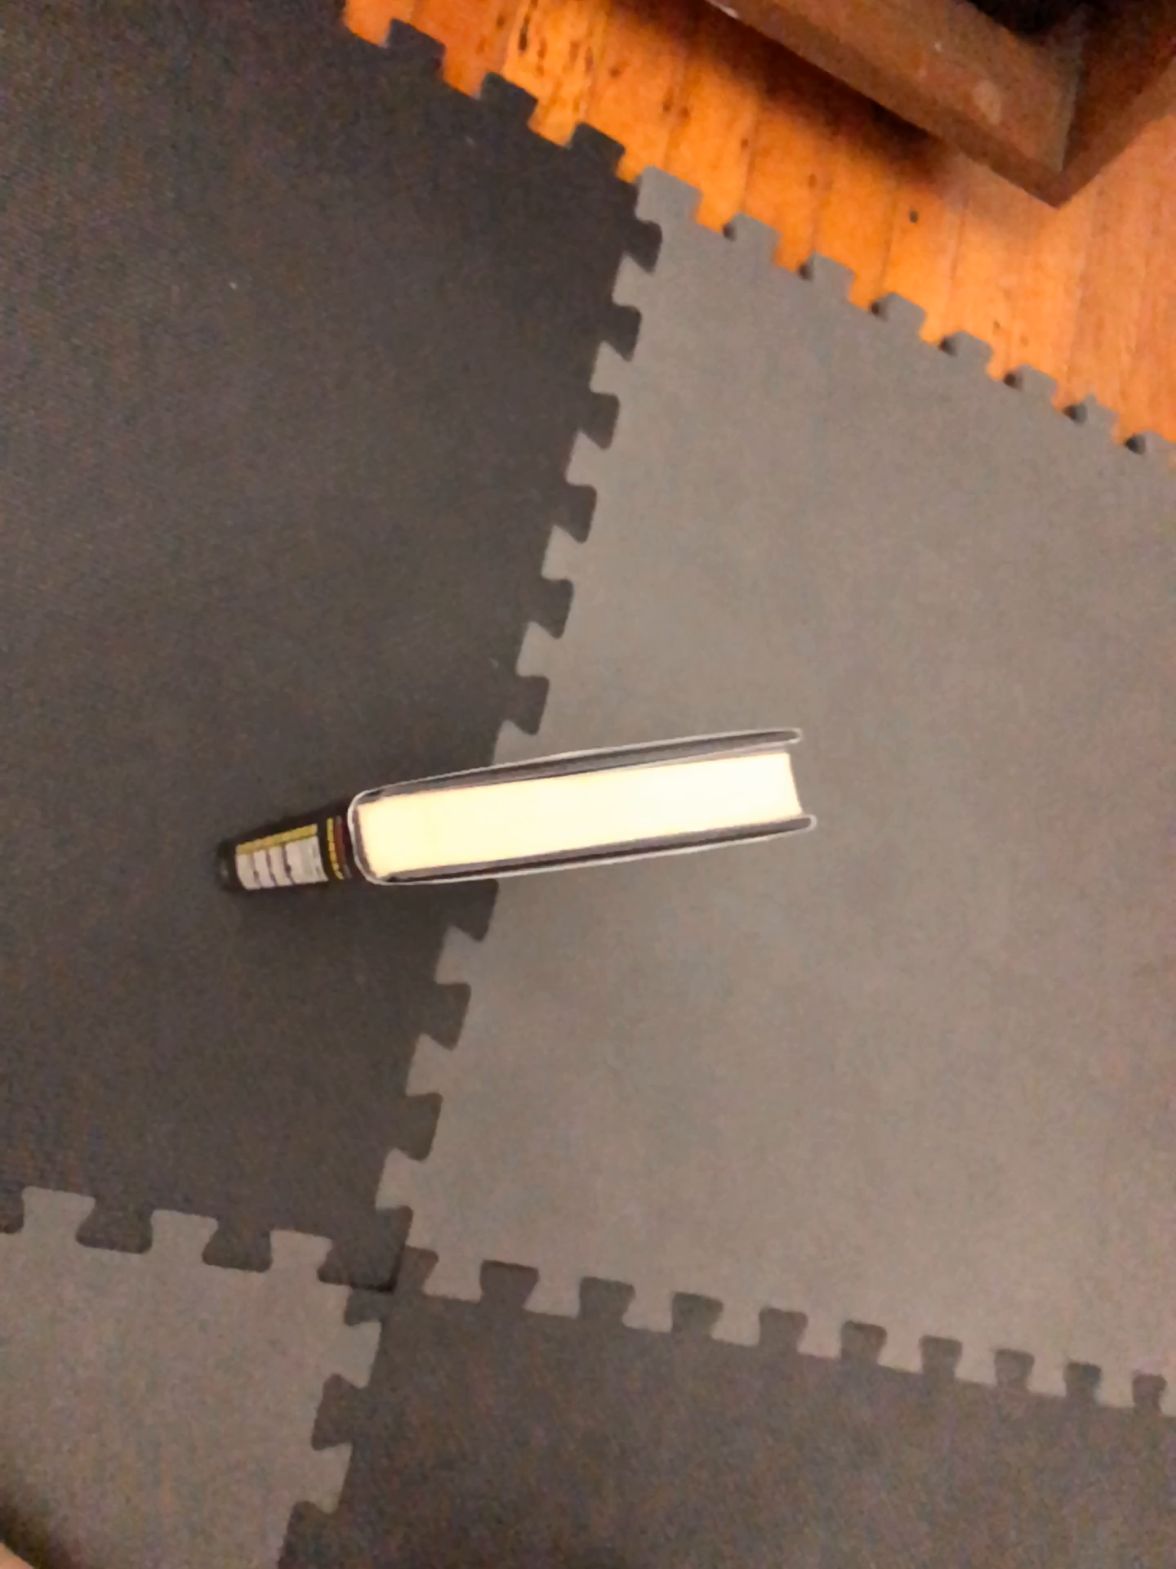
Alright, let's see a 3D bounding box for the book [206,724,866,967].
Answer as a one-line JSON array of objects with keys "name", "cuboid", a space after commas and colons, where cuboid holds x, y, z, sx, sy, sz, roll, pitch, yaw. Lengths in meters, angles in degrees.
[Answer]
[{"name": "book", "cuboid": [-0.042, 0.025, 0.532, 0.180, 0.259, 0.050, -8, 90, -25]}]
